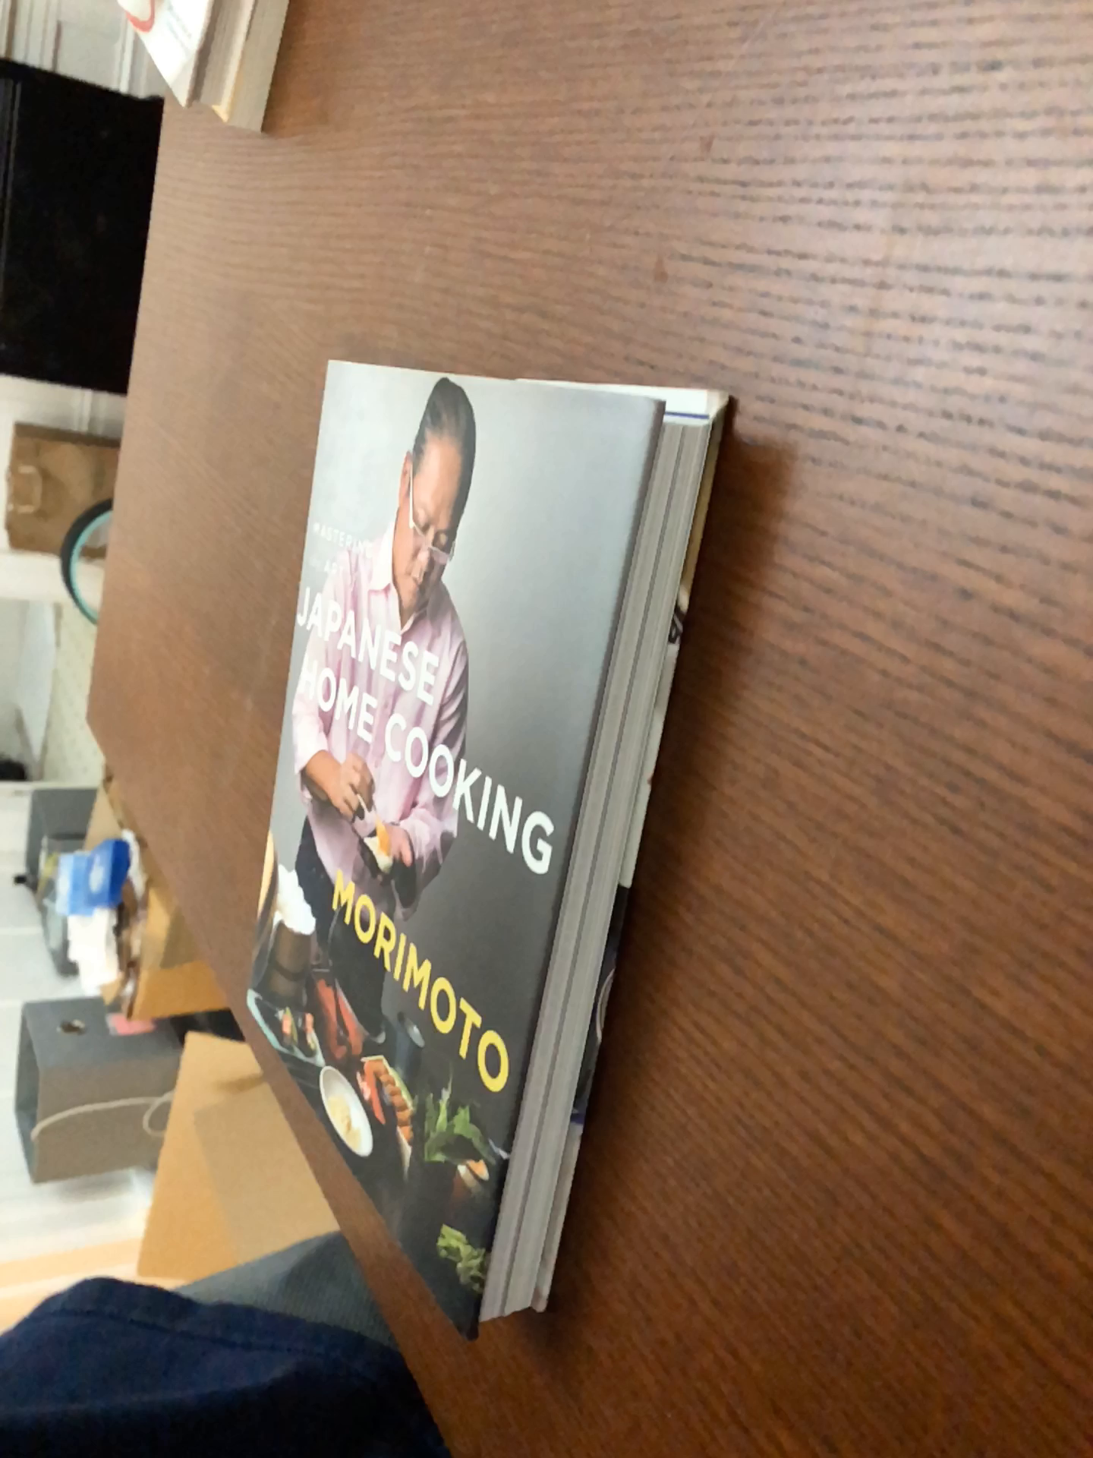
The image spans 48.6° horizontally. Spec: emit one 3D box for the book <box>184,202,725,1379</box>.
[{"bbox_3d":[-0.056,0.000,0.389,0.221,0.030,0.300,30,113,55],"label":"book"}]
